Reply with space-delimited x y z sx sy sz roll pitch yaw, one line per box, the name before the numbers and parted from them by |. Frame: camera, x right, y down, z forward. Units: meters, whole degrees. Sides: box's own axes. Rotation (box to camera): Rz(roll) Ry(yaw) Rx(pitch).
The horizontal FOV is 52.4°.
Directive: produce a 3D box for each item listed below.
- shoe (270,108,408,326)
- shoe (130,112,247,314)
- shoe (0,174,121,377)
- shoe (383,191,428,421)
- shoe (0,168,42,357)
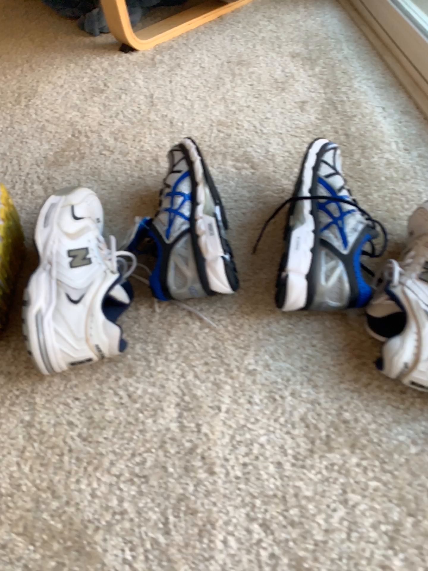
shoe | 0.154 -0.101 0.568 0.120 0.119 0.271 9 50 4
shoe | -0.040 -0.108 0.586 0.130 0.070 0.281 -6 59 -1
shoe | -0.169 -0.016 0.511 0.100 0.119 0.201 -6 52 -5
shoe | 0.249 0.009 0.471 0.090 0.090 0.231 16 48 8
shoe | -0.328 -0.038 0.605 0.110 0.119 0.231 -6 52 -4
